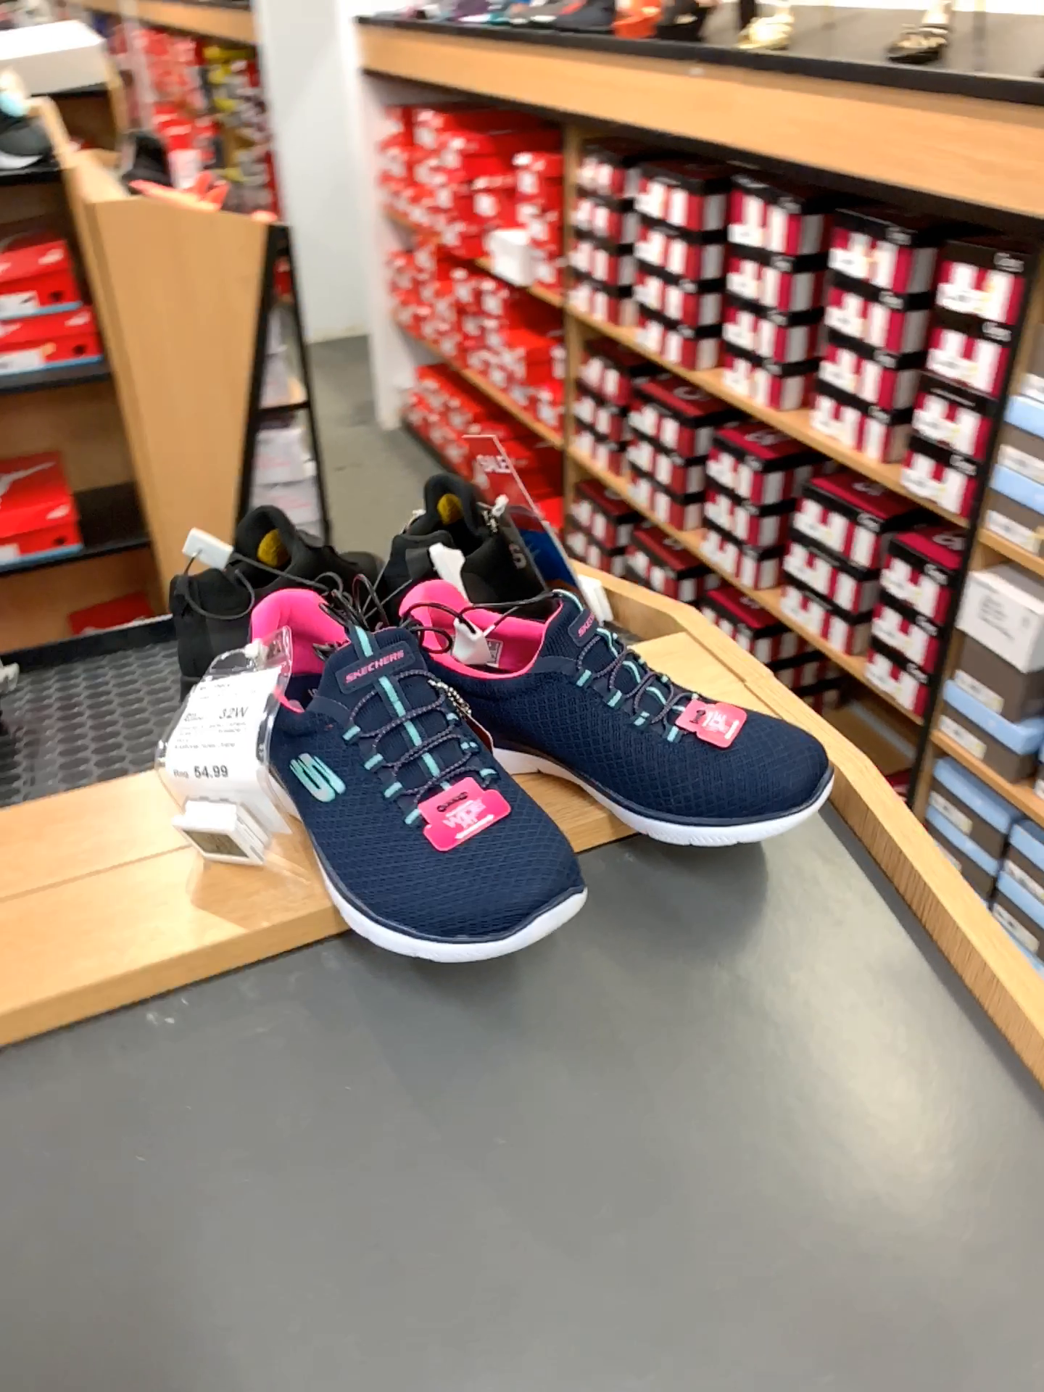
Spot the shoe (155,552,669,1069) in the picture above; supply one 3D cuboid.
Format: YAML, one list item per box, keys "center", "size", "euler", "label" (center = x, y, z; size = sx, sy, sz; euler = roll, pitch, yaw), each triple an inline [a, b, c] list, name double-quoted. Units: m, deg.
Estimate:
- center: [-0.061, 0.035, 0.515]
  size: [0.110, 0.099, 0.251]
  euler: [-26, 41, -31]
  label: "shoe"

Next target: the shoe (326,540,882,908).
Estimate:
- center: [0.038, 0.004, 0.563]
  size: [0.260, 0.090, 0.100]
  euler: [16, 38, 23]
  label: "shoe"
